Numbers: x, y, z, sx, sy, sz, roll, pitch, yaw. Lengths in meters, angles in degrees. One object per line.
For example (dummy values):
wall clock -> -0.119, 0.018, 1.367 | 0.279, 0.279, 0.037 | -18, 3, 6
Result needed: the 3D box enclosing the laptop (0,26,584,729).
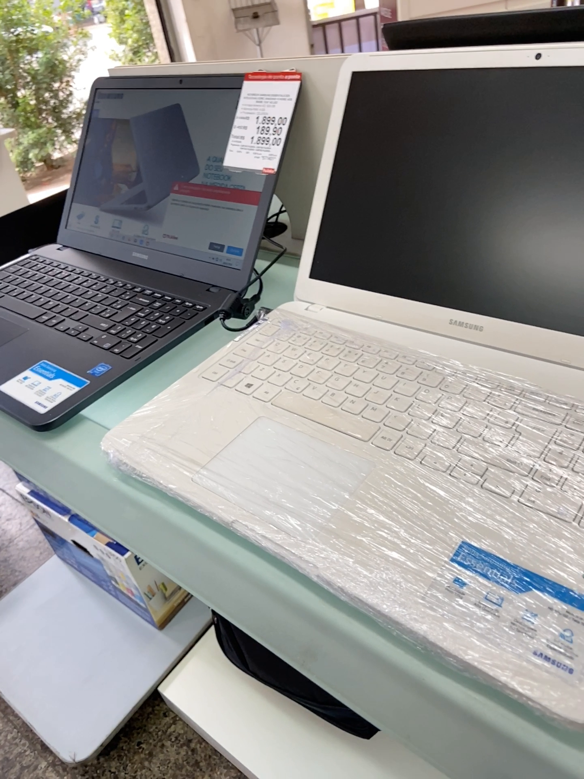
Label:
laptop -> 0.095, -0.086, 0.421 | 0.376, 0.192, 0.382 | 20, 47, 36
